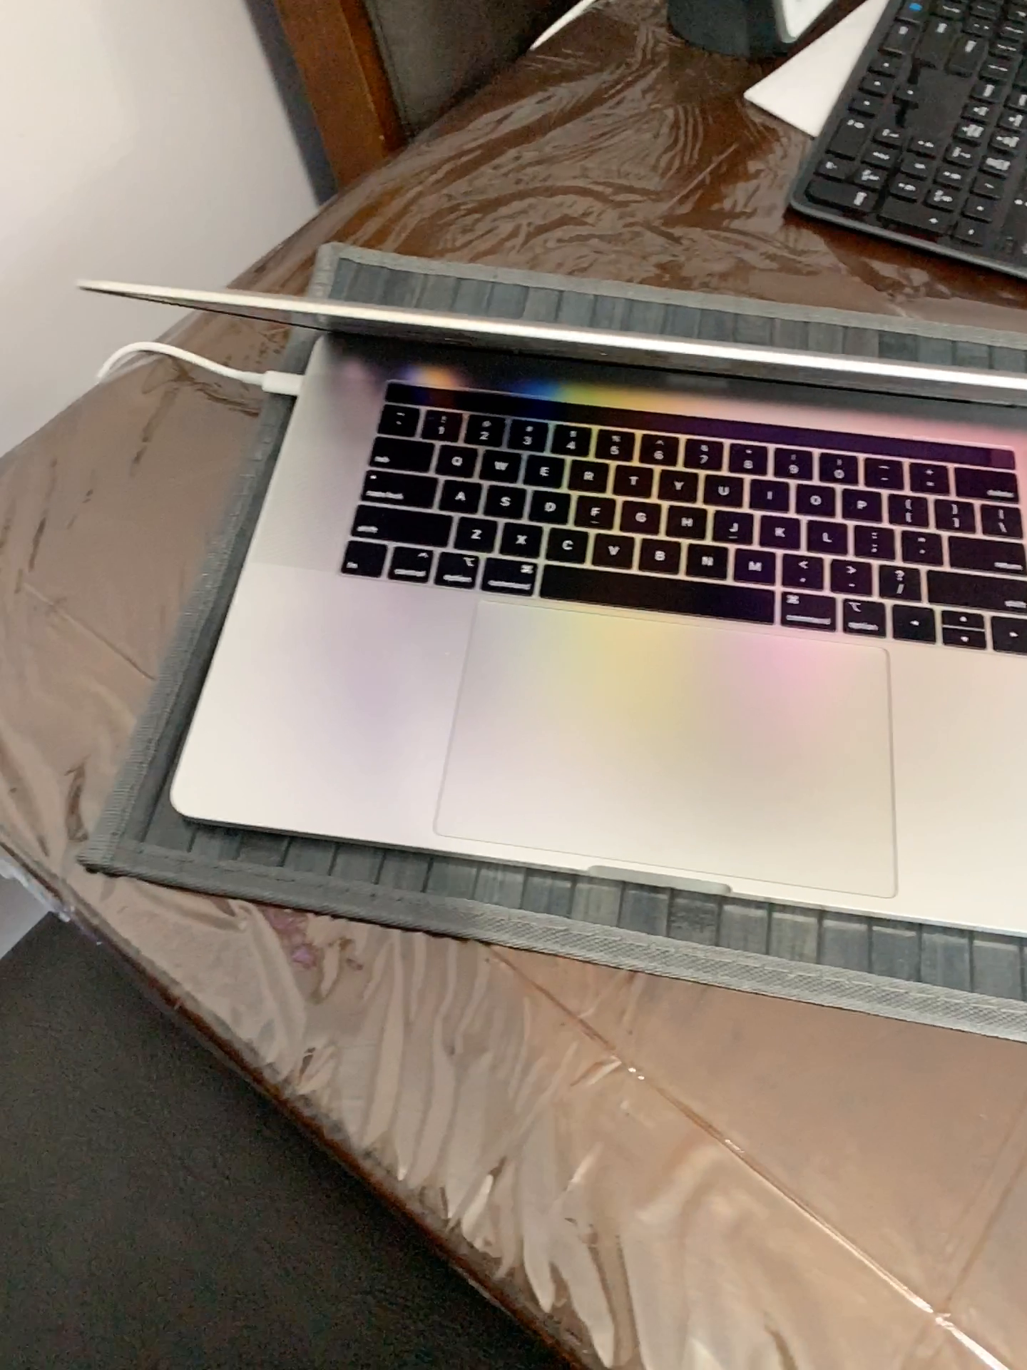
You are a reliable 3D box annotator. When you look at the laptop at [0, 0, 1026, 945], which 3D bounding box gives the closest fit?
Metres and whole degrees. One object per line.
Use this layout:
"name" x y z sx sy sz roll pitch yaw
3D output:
"laptop" 0.066 -0.077 0.342 0.339 0.164 0.234 7 61 4
